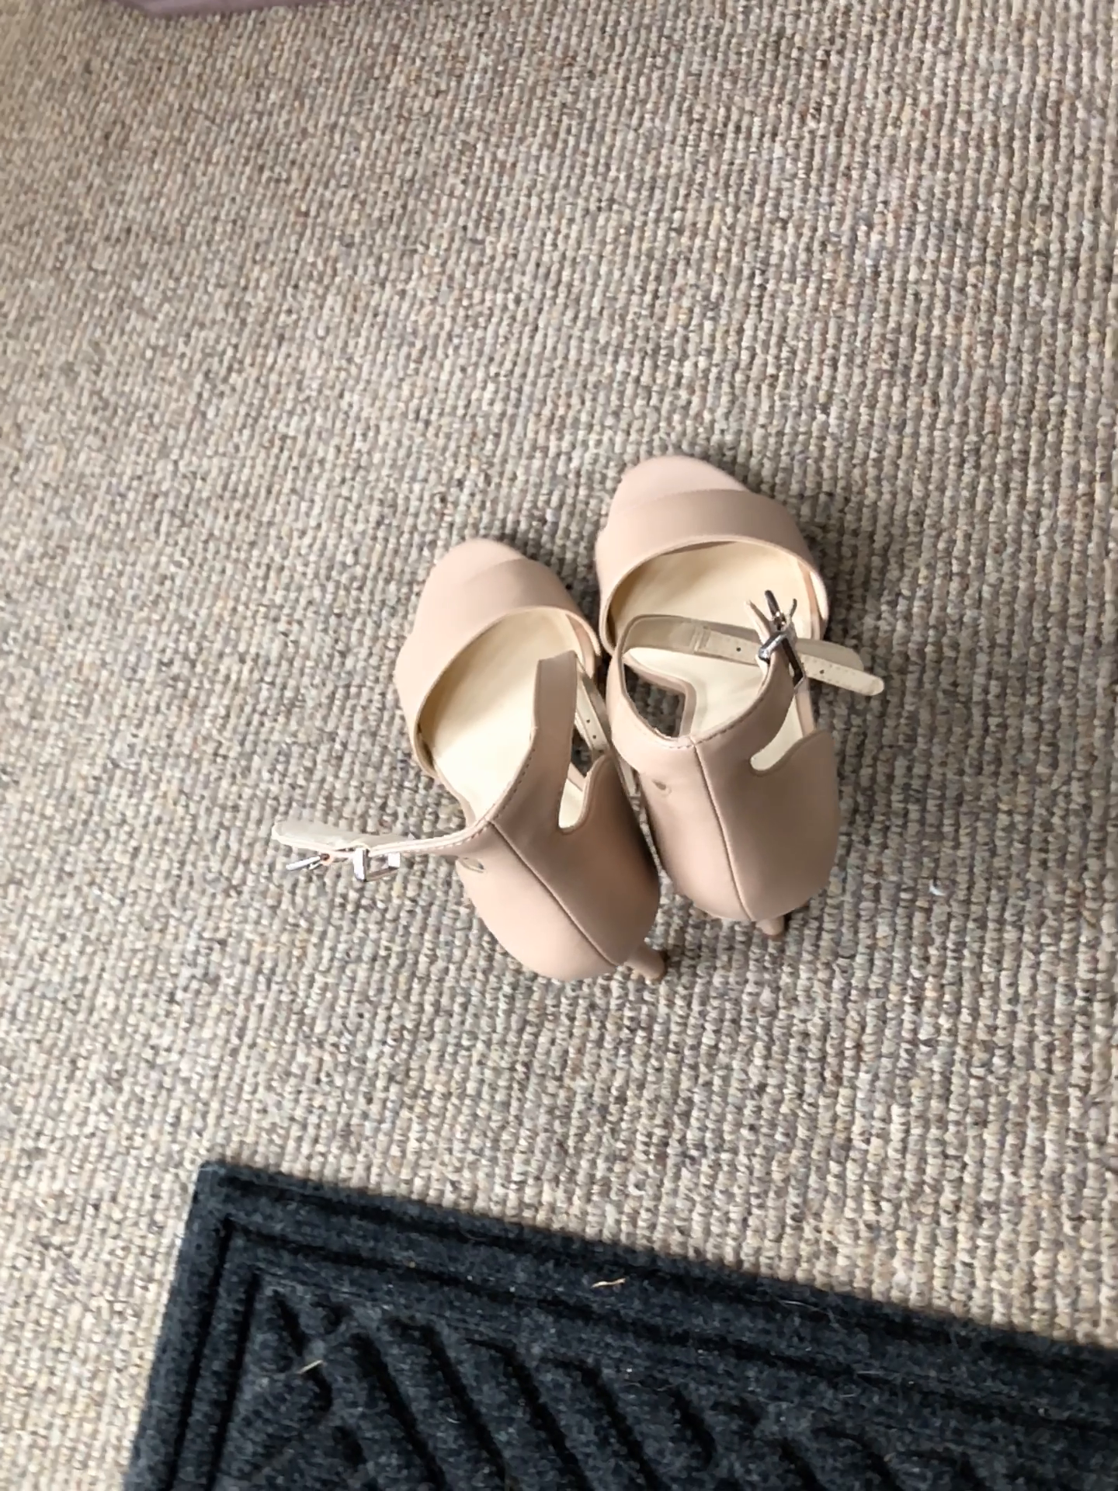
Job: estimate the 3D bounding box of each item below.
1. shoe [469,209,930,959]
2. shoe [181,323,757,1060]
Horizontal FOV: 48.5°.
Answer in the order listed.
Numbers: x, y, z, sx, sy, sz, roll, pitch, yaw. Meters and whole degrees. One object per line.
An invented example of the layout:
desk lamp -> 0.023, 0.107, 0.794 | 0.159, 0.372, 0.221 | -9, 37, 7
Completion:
shoe -> 0.052, -0.048, 0.453 | 0.099, 0.154, 0.207 | -15, 67, 9
shoe -> -0.028, -0.012, 0.453 | 0.105, 0.144, 0.207 | -27, 65, 3
